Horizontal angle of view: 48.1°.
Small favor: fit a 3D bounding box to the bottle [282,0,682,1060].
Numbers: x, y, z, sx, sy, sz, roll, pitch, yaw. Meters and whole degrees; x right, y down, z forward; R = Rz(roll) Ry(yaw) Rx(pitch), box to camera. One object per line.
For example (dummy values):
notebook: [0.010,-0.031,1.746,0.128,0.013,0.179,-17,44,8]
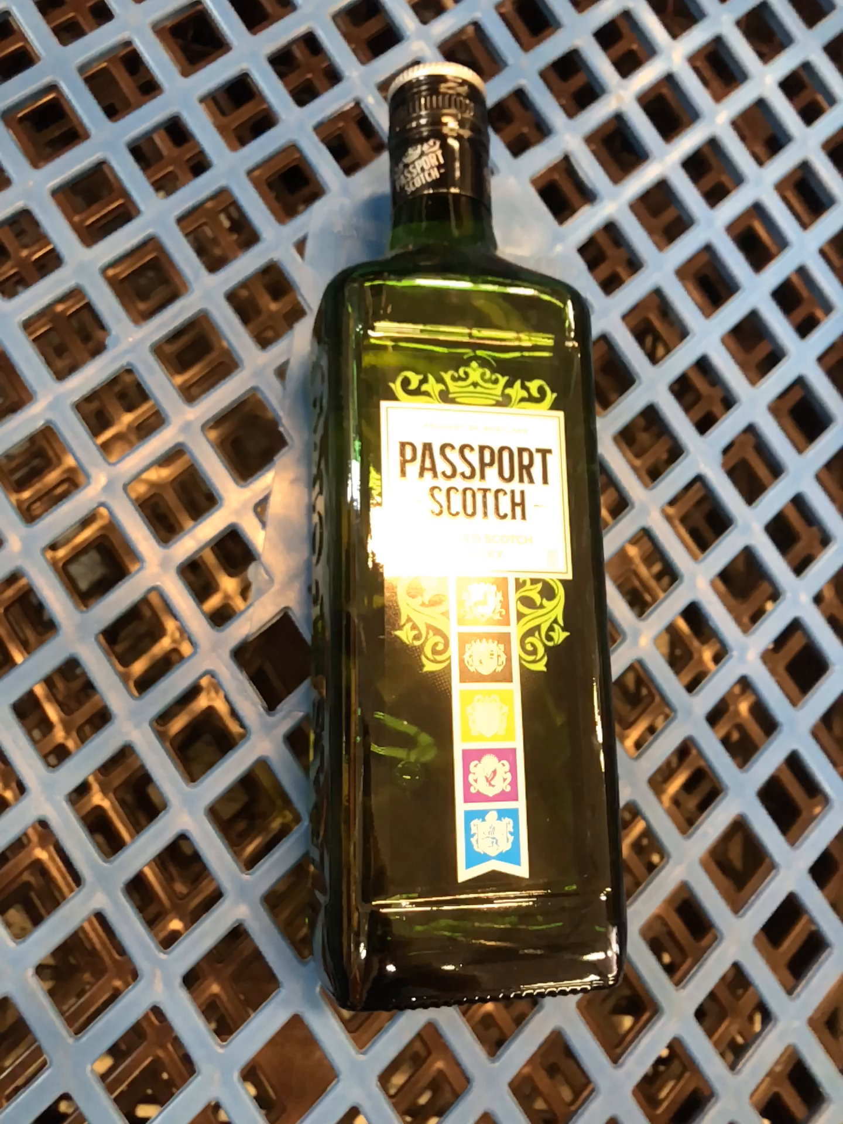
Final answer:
bottle: [0.005,-0.030,0.259,0.080,0.070,0.280,0,79,-12]
